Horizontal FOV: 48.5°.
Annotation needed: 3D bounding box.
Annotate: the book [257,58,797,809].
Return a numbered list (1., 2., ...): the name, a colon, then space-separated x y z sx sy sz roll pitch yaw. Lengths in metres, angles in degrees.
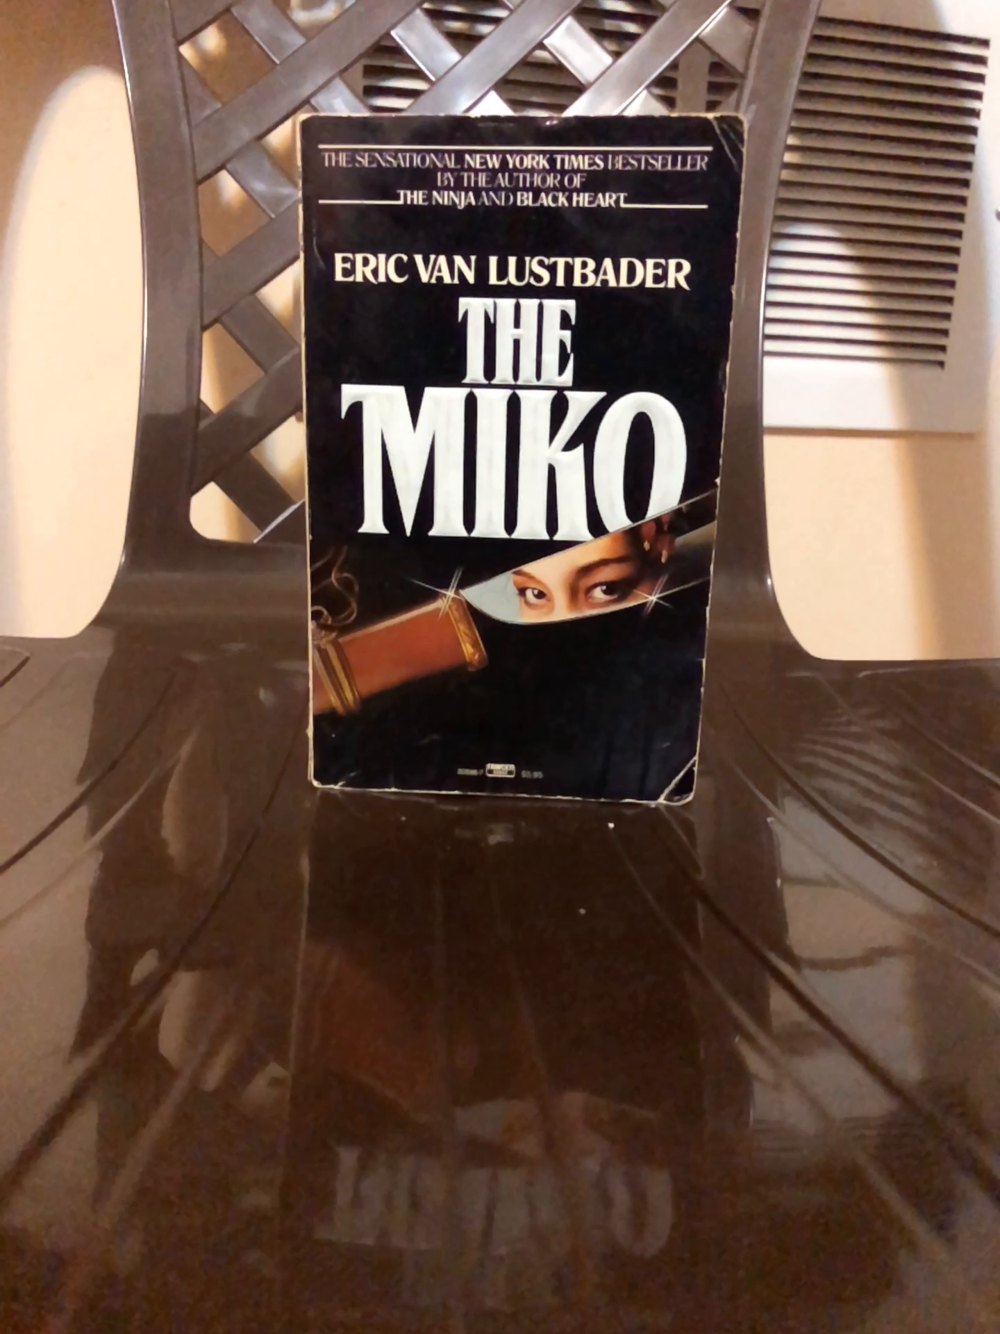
1. book: 0.003 -0.055 0.284 0.120 0.170 0.040 3 11 1
